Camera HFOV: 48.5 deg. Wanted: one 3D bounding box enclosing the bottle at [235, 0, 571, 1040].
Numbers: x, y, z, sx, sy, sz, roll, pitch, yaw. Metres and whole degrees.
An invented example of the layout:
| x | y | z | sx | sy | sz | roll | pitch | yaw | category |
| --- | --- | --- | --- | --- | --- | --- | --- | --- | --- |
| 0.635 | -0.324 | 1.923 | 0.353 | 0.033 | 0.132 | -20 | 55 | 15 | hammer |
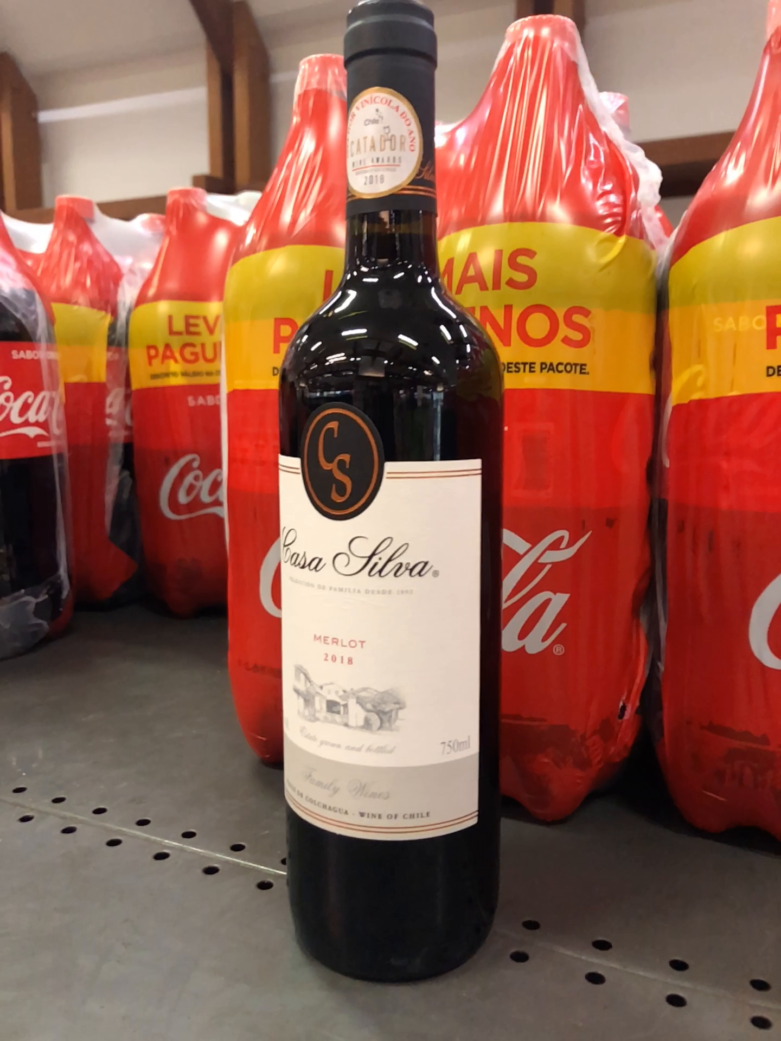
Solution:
| x | y | z | sx | sy | sz | roll | pitch | yaw | category |
| --- | --- | --- | --- | --- | --- | --- | --- | --- | --- |
| 0.006 | -0.006 | 0.284 | 0.080 | 0.309 | 0.070 | 4 | 9 | 25 | bottle |
